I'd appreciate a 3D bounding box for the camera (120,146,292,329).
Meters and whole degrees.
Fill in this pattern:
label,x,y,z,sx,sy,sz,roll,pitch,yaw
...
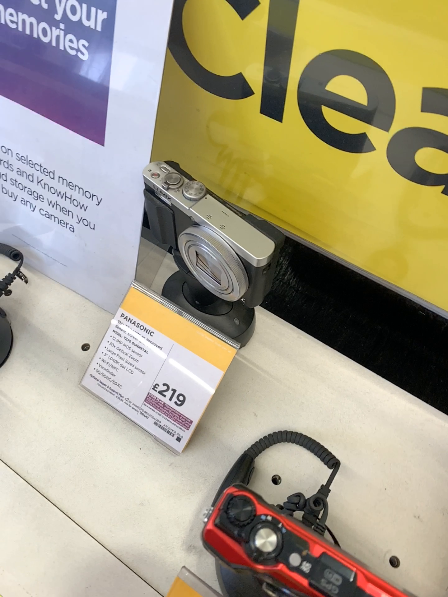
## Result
label,x,y,z,sx,sy,sz,roll,pitch,yaw
camera,-0.014,-0.041,0.318,0.110,0.070,0.040,39,66,19
